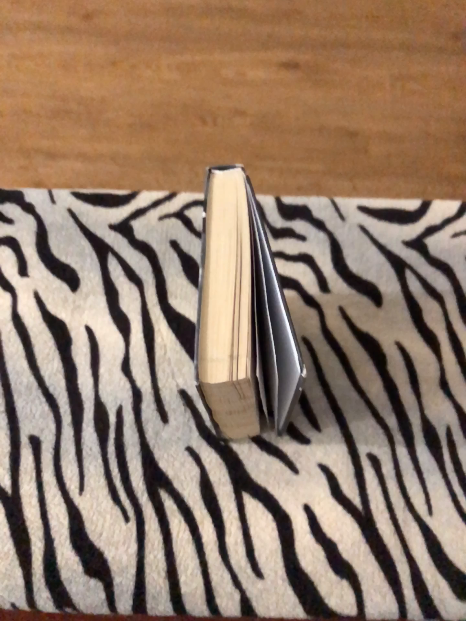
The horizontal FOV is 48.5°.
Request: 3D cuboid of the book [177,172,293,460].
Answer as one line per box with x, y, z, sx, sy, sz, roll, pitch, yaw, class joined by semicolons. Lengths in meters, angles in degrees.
0.003;0.021;0.369;0.057;0.192;0.144;-2;68;1;book
